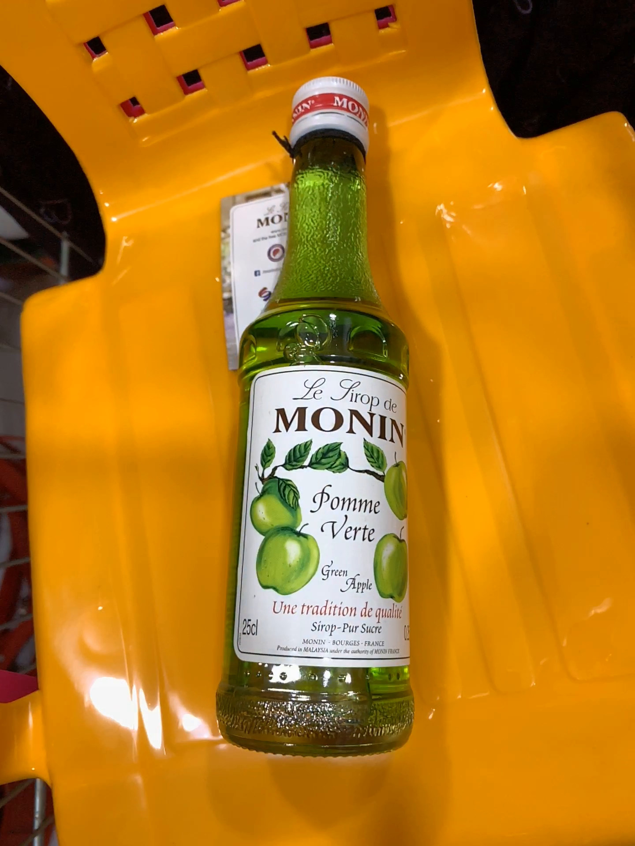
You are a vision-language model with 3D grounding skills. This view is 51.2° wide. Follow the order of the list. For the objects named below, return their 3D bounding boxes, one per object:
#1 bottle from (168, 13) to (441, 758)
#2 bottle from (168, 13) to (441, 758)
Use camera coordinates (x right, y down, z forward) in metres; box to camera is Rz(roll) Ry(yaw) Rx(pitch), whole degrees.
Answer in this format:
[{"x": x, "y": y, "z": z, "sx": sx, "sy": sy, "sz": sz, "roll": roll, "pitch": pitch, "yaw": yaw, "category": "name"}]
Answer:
[{"x": -0.001, "y": -0.015, "z": 0.228, "sx": 0.060, "sy": 0.060, "sz": 0.220, "roll": -17, "pitch": 66, "yaw": 55, "category": "bottle"}, {"x": -0.001, "y": -0.015, "z": 0.228, "sx": 0.060, "sy": 0.060, "sz": 0.220, "roll": -17, "pitch": 66, "yaw": 55, "category": "bottle"}]
